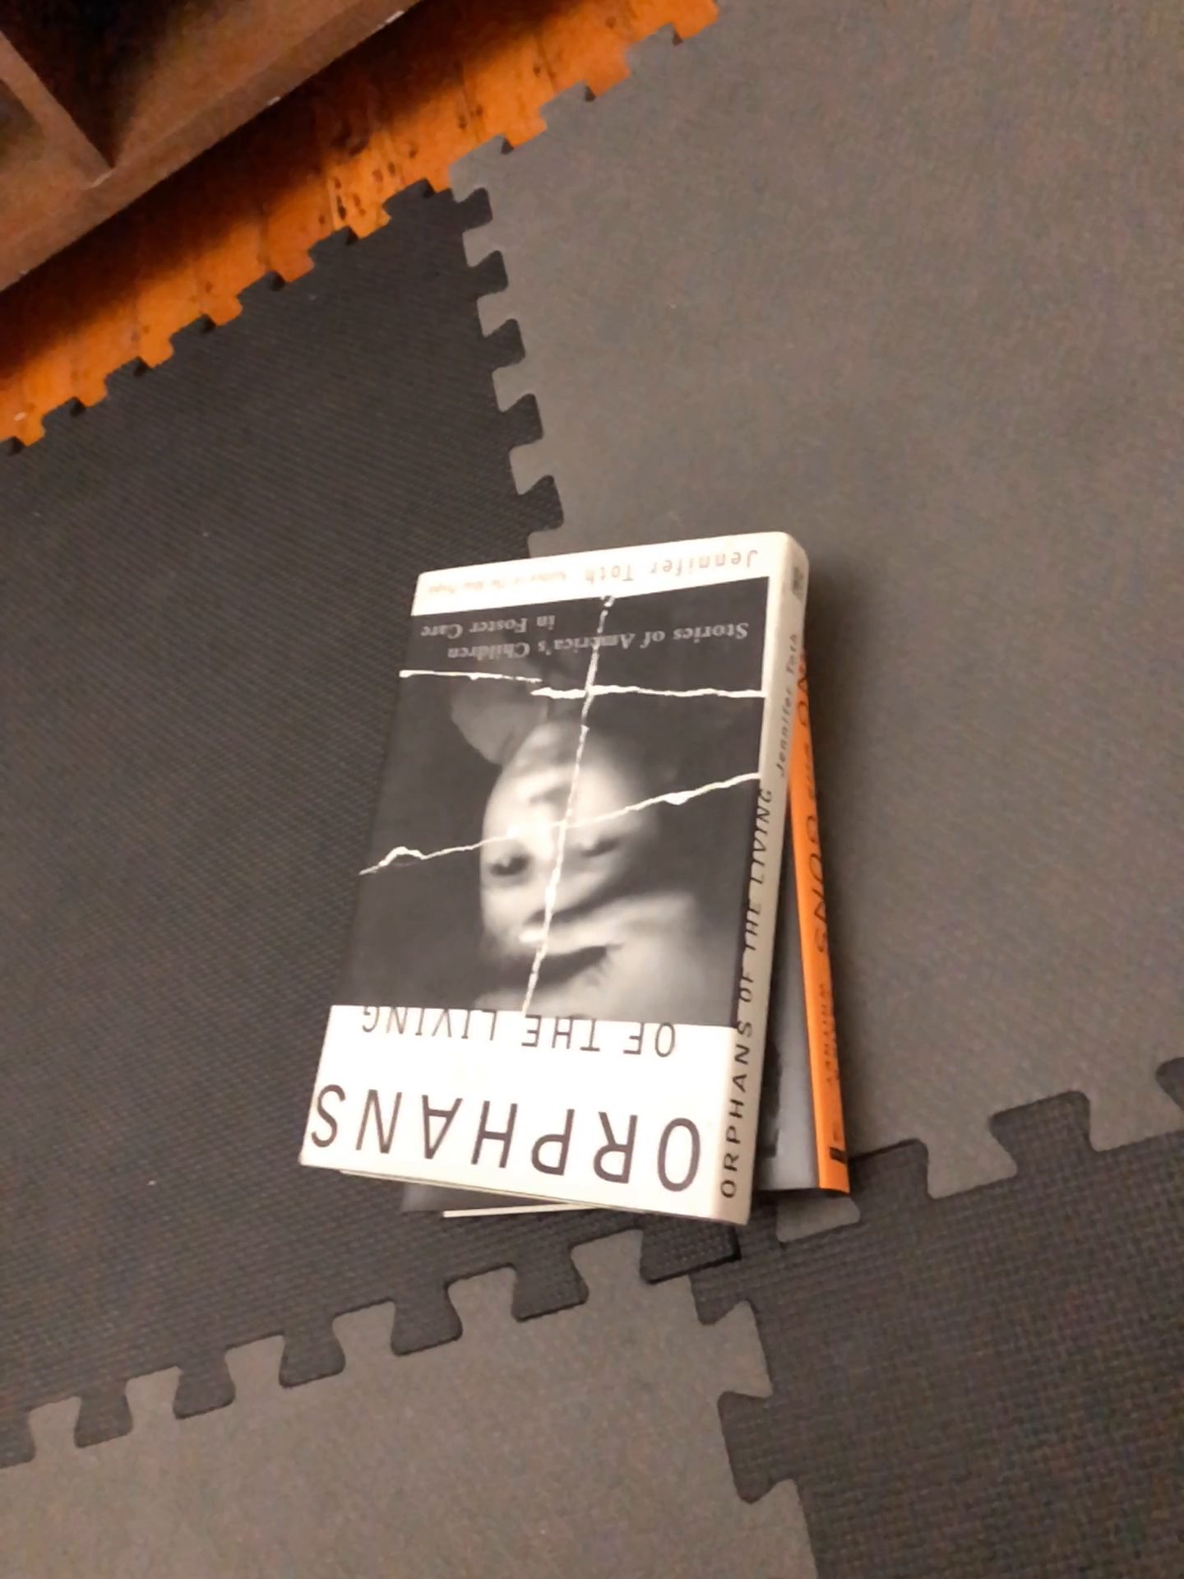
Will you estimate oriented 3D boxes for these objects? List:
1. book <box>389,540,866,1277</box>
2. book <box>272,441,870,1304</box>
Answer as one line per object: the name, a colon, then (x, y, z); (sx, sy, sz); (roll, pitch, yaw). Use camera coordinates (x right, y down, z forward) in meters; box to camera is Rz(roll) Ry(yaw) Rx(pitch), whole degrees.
book: (0.005, 0.042, 0.482); (0.160, 0.030, 0.251); (-13, 63, 24)
book: (-0.004, 0.018, 0.461); (0.180, 0.030, 0.281); (-2, 68, 29)
